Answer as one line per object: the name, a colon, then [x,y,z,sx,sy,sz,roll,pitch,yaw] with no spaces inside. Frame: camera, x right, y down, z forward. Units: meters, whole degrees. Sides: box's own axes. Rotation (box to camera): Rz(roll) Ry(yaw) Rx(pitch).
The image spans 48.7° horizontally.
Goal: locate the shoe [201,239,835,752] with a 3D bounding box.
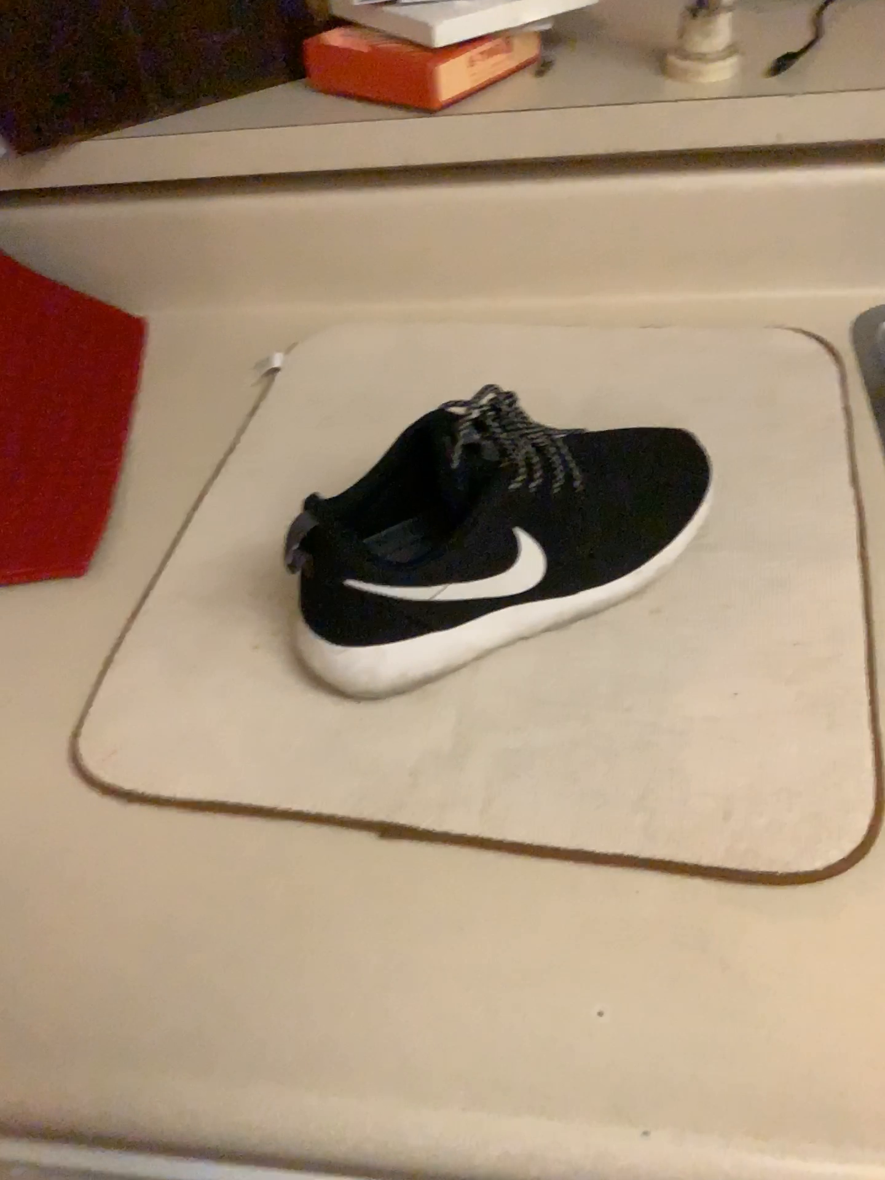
shoe: [0.042,-0.059,0.516,0.280,0.120,0.130,-26,49,-16]
